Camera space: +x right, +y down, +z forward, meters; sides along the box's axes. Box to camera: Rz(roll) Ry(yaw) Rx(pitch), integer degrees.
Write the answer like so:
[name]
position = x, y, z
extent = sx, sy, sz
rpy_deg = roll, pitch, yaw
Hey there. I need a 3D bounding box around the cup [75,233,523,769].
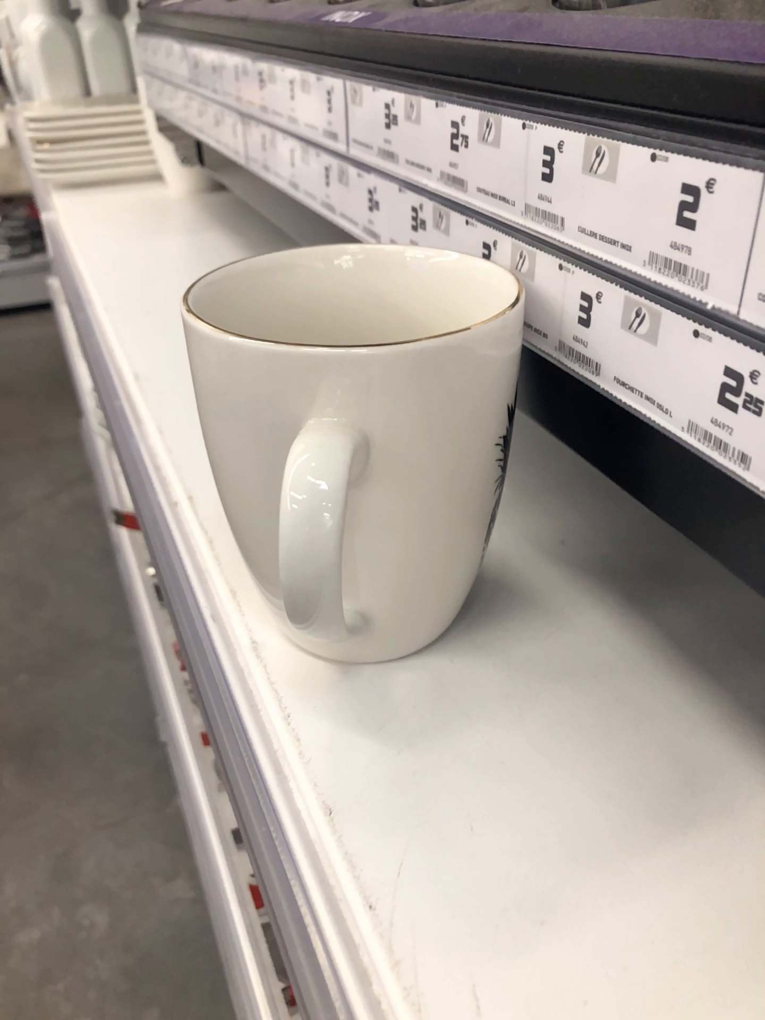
[cup]
position = -0.007, -0.011, 0.225
extent = 0.082, 0.093, 0.115
rpy_deg = 1, 30, 8
